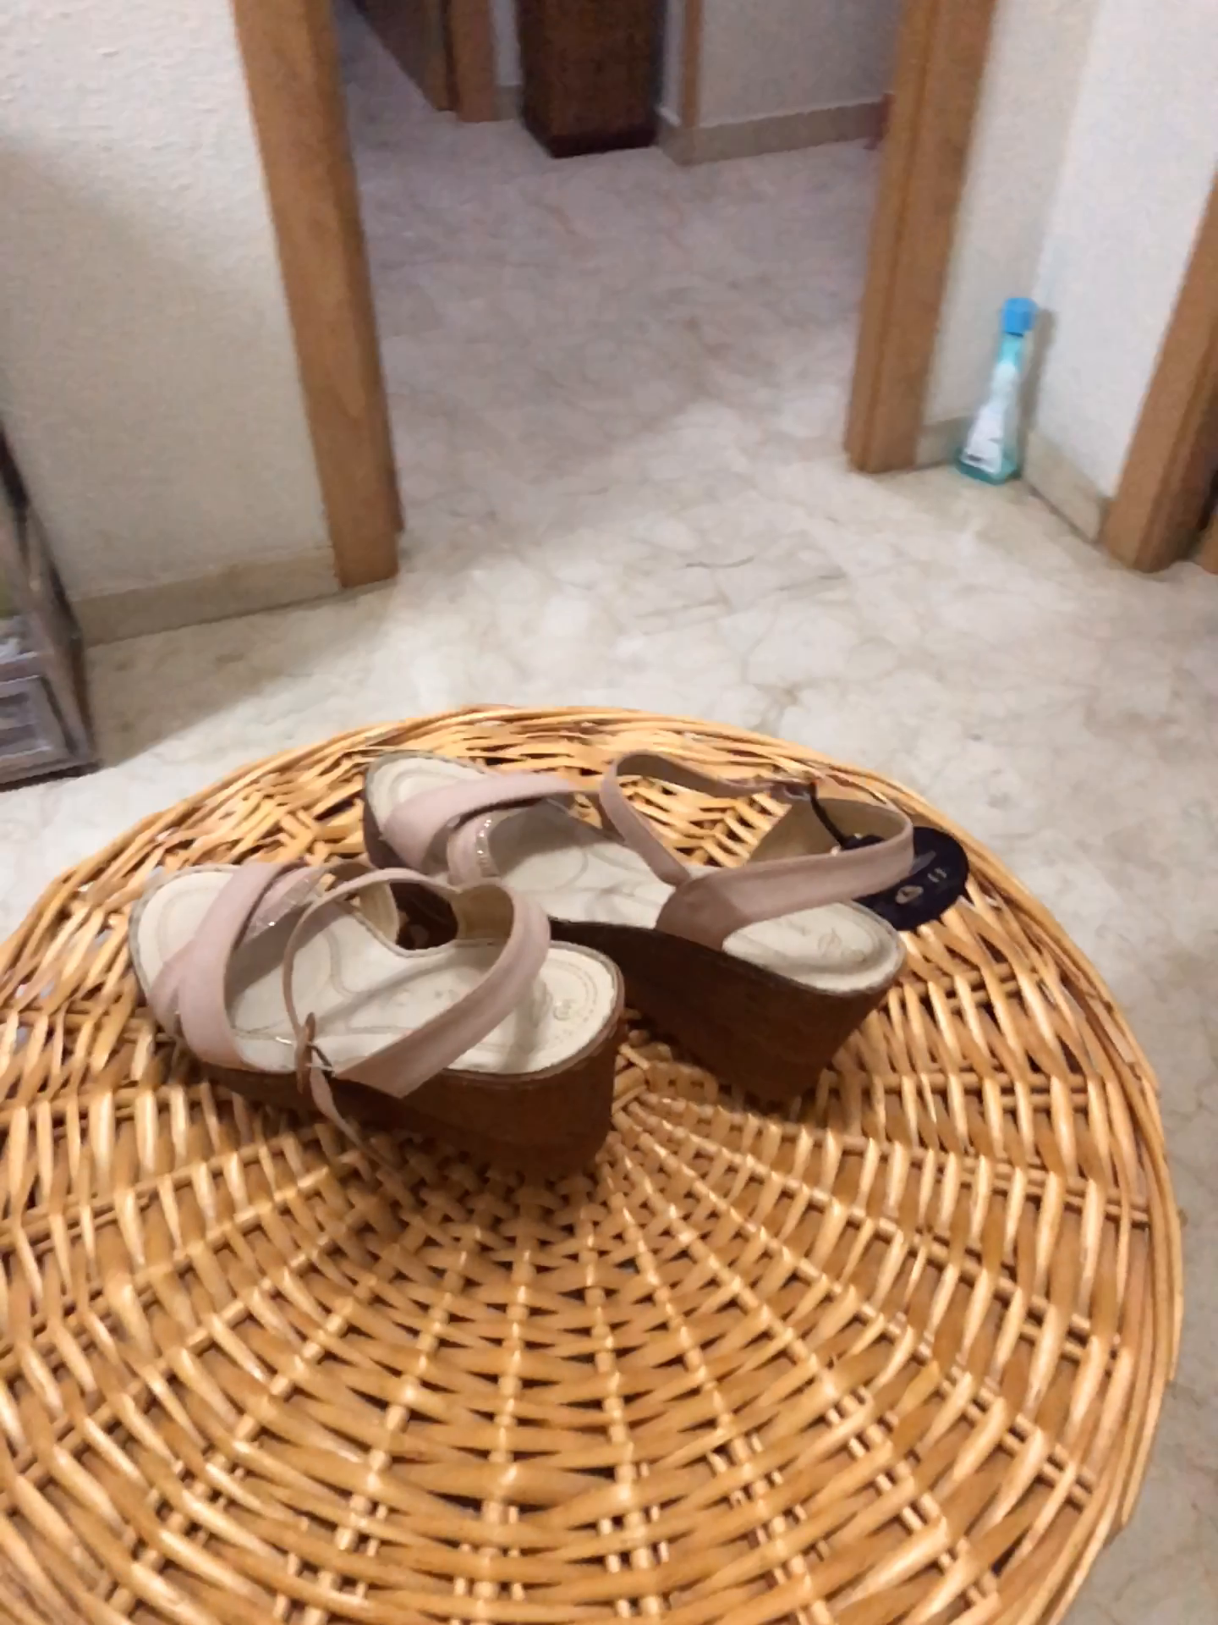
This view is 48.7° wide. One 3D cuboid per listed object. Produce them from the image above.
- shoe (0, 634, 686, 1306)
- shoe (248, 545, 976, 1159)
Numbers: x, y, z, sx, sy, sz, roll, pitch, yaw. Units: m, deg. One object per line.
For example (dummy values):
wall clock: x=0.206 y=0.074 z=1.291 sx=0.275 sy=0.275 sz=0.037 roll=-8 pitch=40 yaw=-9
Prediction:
shoe: x=-0.110 y=0.046 z=0.490 sx=0.251 sy=0.100 sz=0.112 roll=25 pitch=51 yaw=23
shoe: x=-0.006 y=0.005 z=0.534 sx=0.261 sy=0.104 sz=0.100 roll=28 pitch=52 yaw=25
